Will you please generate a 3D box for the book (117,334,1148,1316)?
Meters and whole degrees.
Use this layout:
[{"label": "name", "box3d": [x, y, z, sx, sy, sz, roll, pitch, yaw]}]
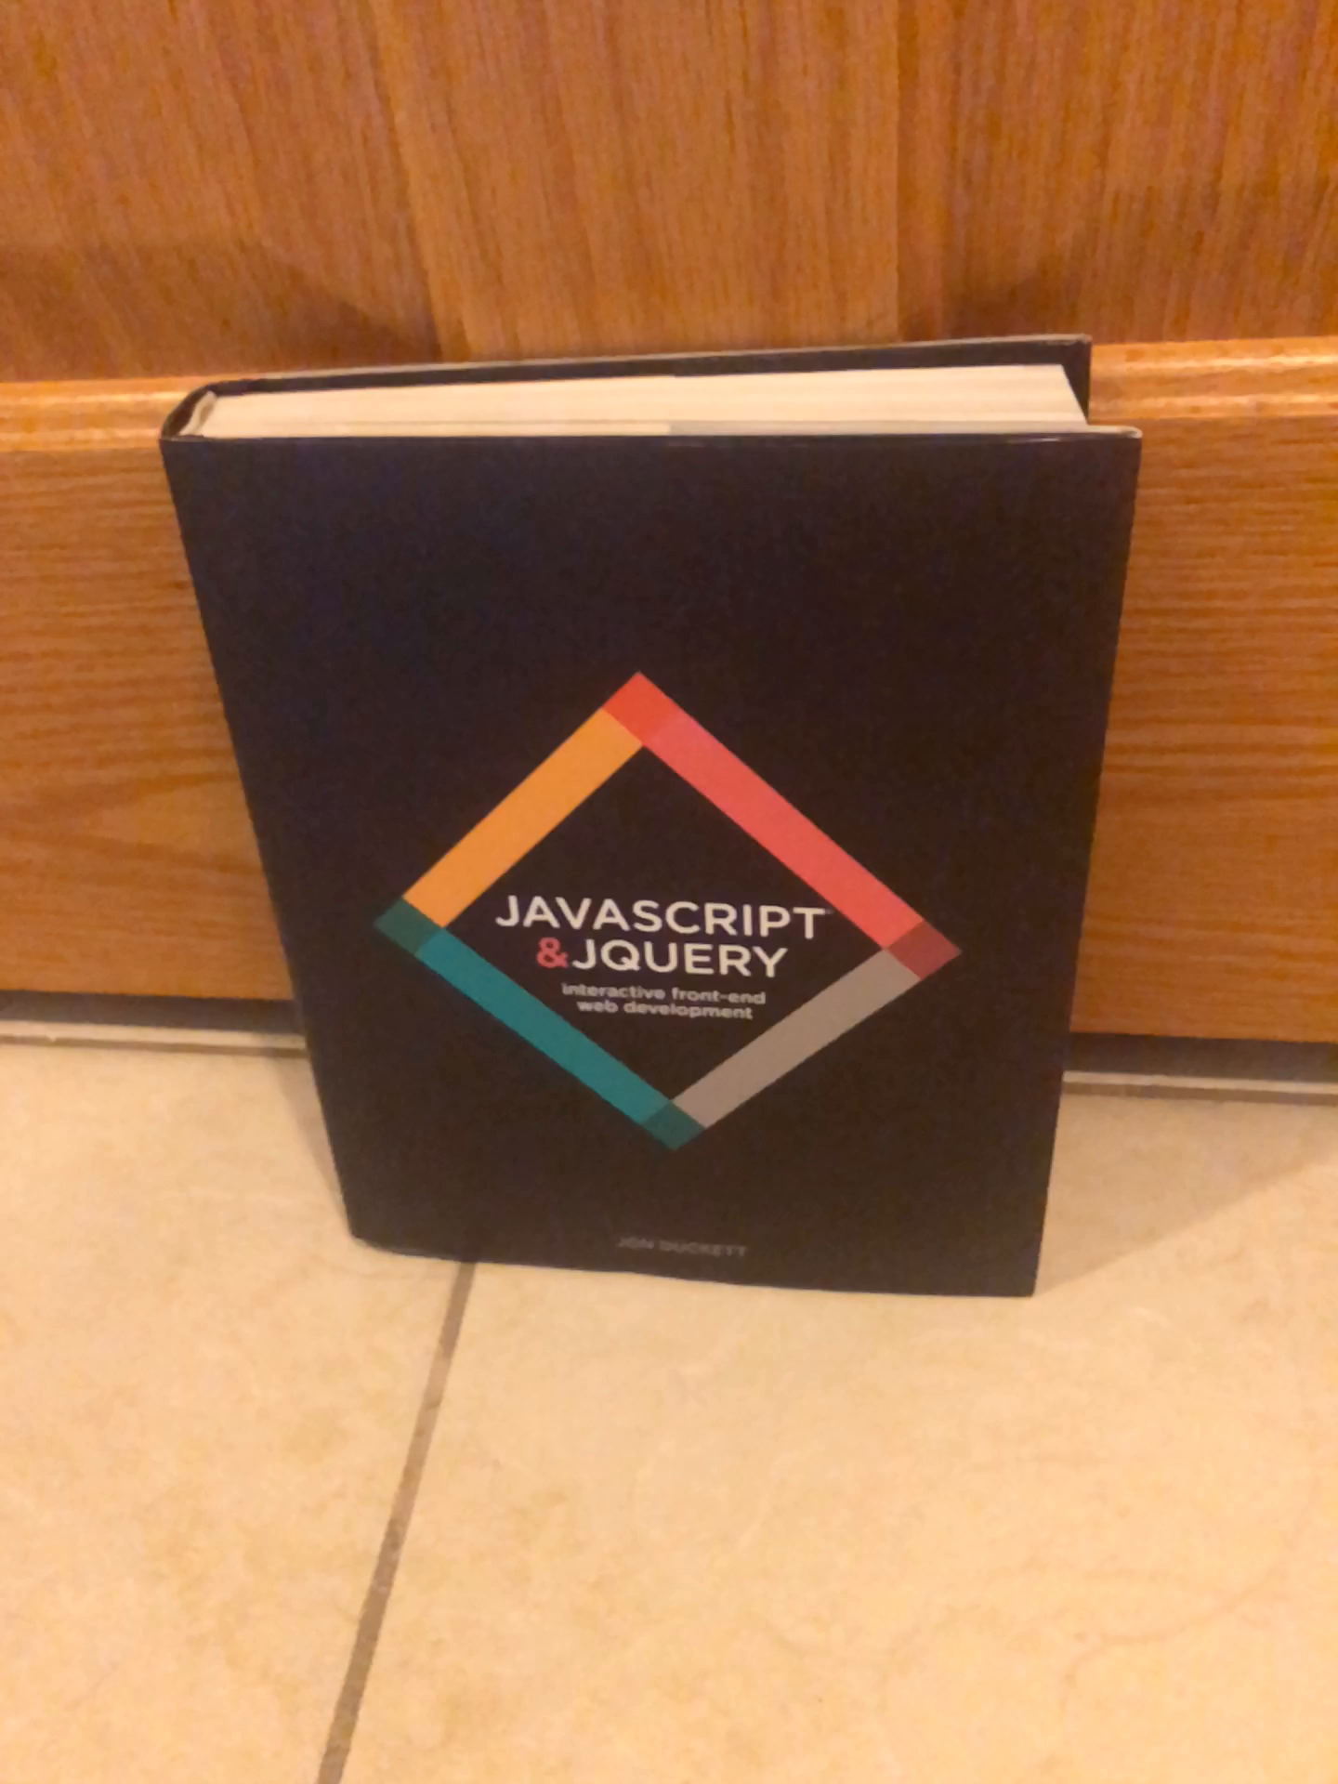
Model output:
[{"label": "book", "box3d": [0.000, -0.006, 0.373, 0.200, 0.237, 0.060, 2, 34, 10]}]
